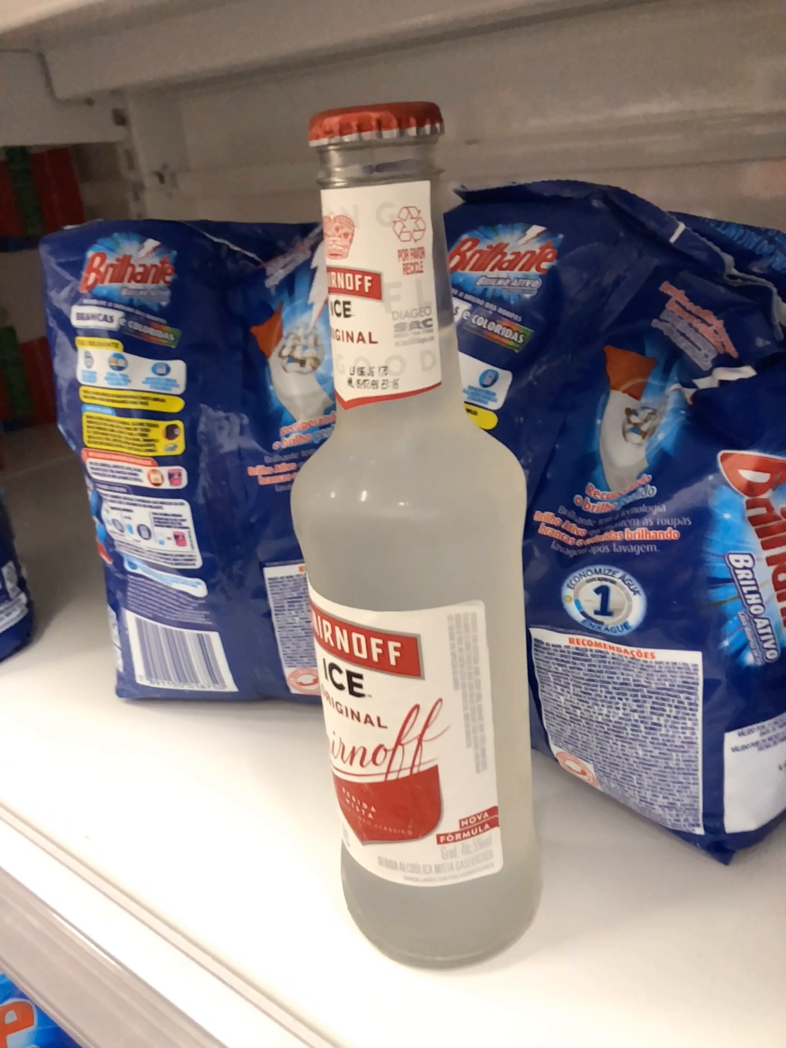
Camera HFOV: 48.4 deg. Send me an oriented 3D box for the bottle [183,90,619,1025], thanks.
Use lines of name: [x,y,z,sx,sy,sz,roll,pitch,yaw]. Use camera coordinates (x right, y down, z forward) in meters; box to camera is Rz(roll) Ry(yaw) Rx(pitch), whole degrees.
bottle: [0.009,0.010,0.222,0.060,0.209,0.070,-23,28,-38]
